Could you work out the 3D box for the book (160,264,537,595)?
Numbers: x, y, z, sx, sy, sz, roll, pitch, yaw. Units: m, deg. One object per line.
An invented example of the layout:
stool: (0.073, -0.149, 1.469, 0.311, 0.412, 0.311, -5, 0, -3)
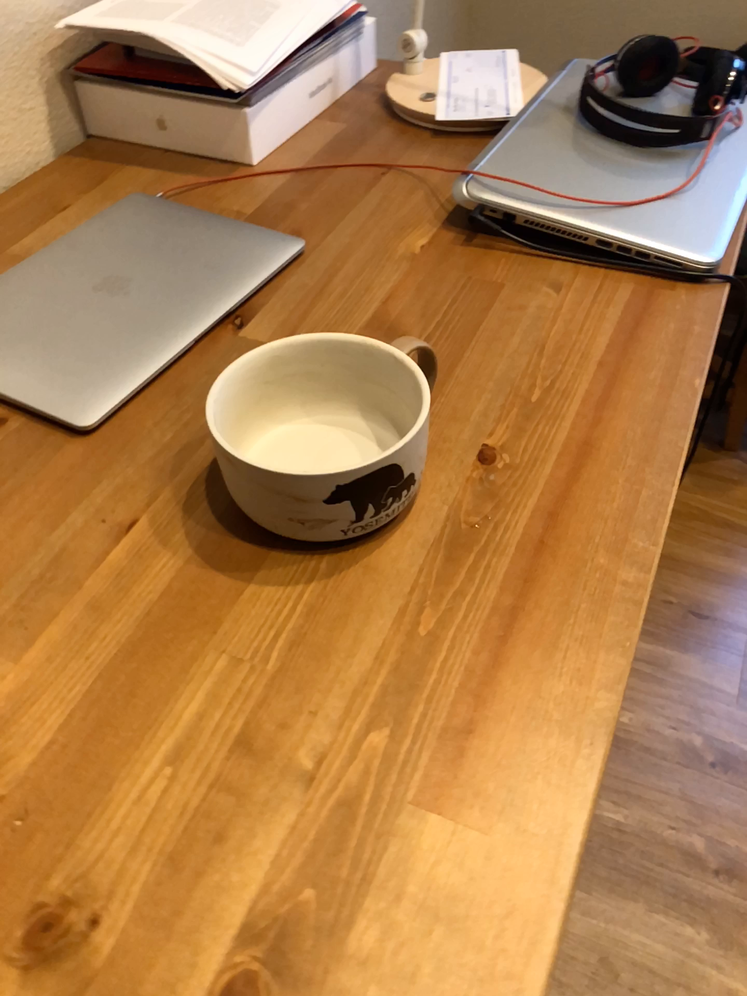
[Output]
book: (-0.011, -0.054, 0.529, 0.130, 0.080, 0.190, 35, 56, 31)
